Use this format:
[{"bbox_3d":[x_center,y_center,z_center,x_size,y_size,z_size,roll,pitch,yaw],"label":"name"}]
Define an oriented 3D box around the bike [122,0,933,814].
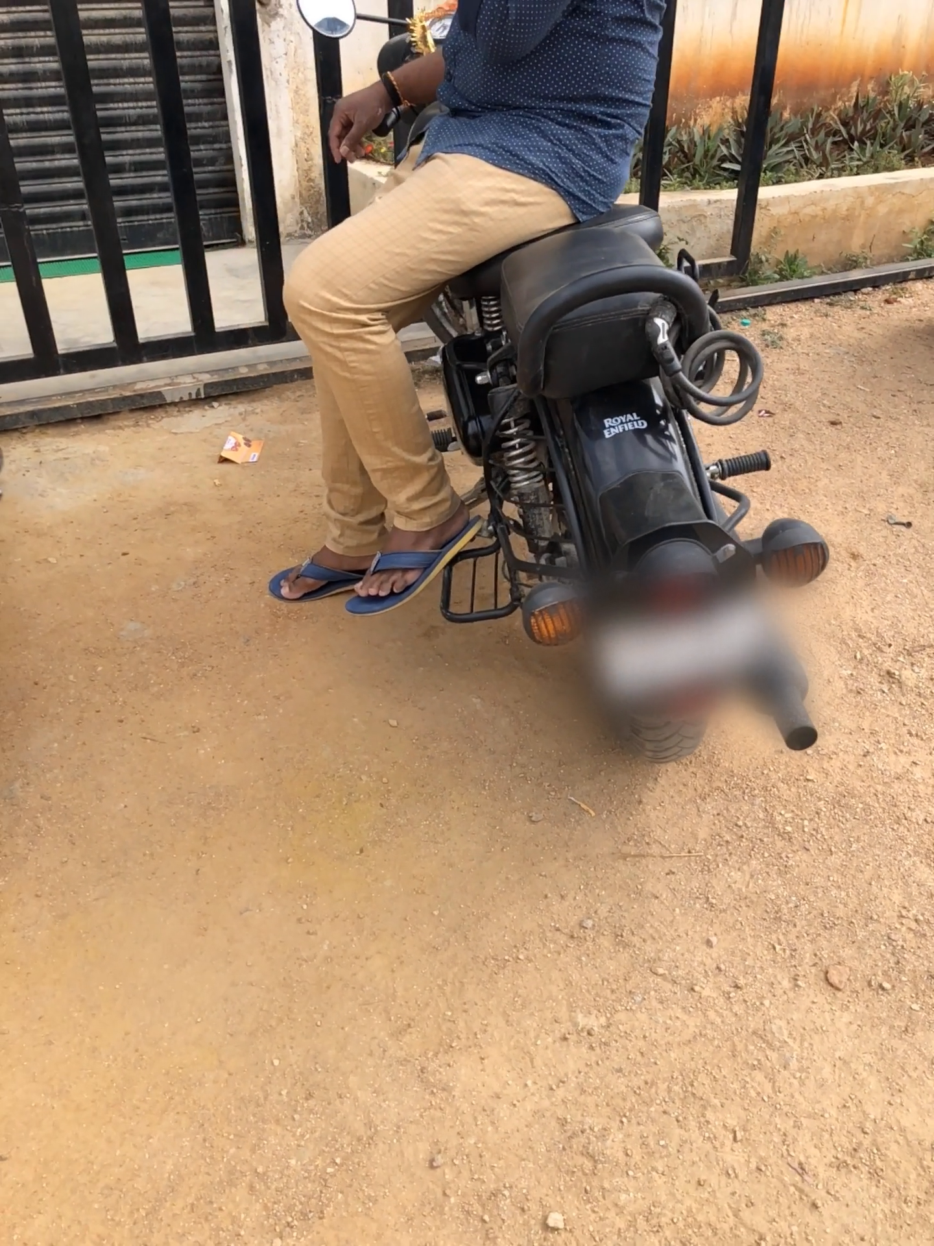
[{"bbox_3d":[-0.099,-0.816,1.911,0.724,1.169,1.813,-9,40,-14],"label":"bike"}]
